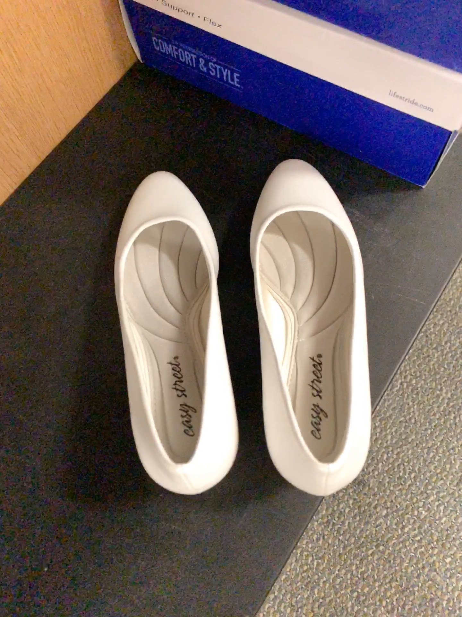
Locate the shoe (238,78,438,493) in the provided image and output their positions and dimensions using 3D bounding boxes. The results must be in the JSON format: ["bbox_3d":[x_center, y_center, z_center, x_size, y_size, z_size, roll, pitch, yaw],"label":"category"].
[{"bbox_3d":[0.053,-0.012,0.317,0.090,0.110,0.250,-2,69,3],"label":"shoe"}]

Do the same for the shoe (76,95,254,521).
[{"bbox_3d":[-0.044,-0.003,0.317,0.080,0.100,0.250,-9,69,0],"label":"shoe"}]
